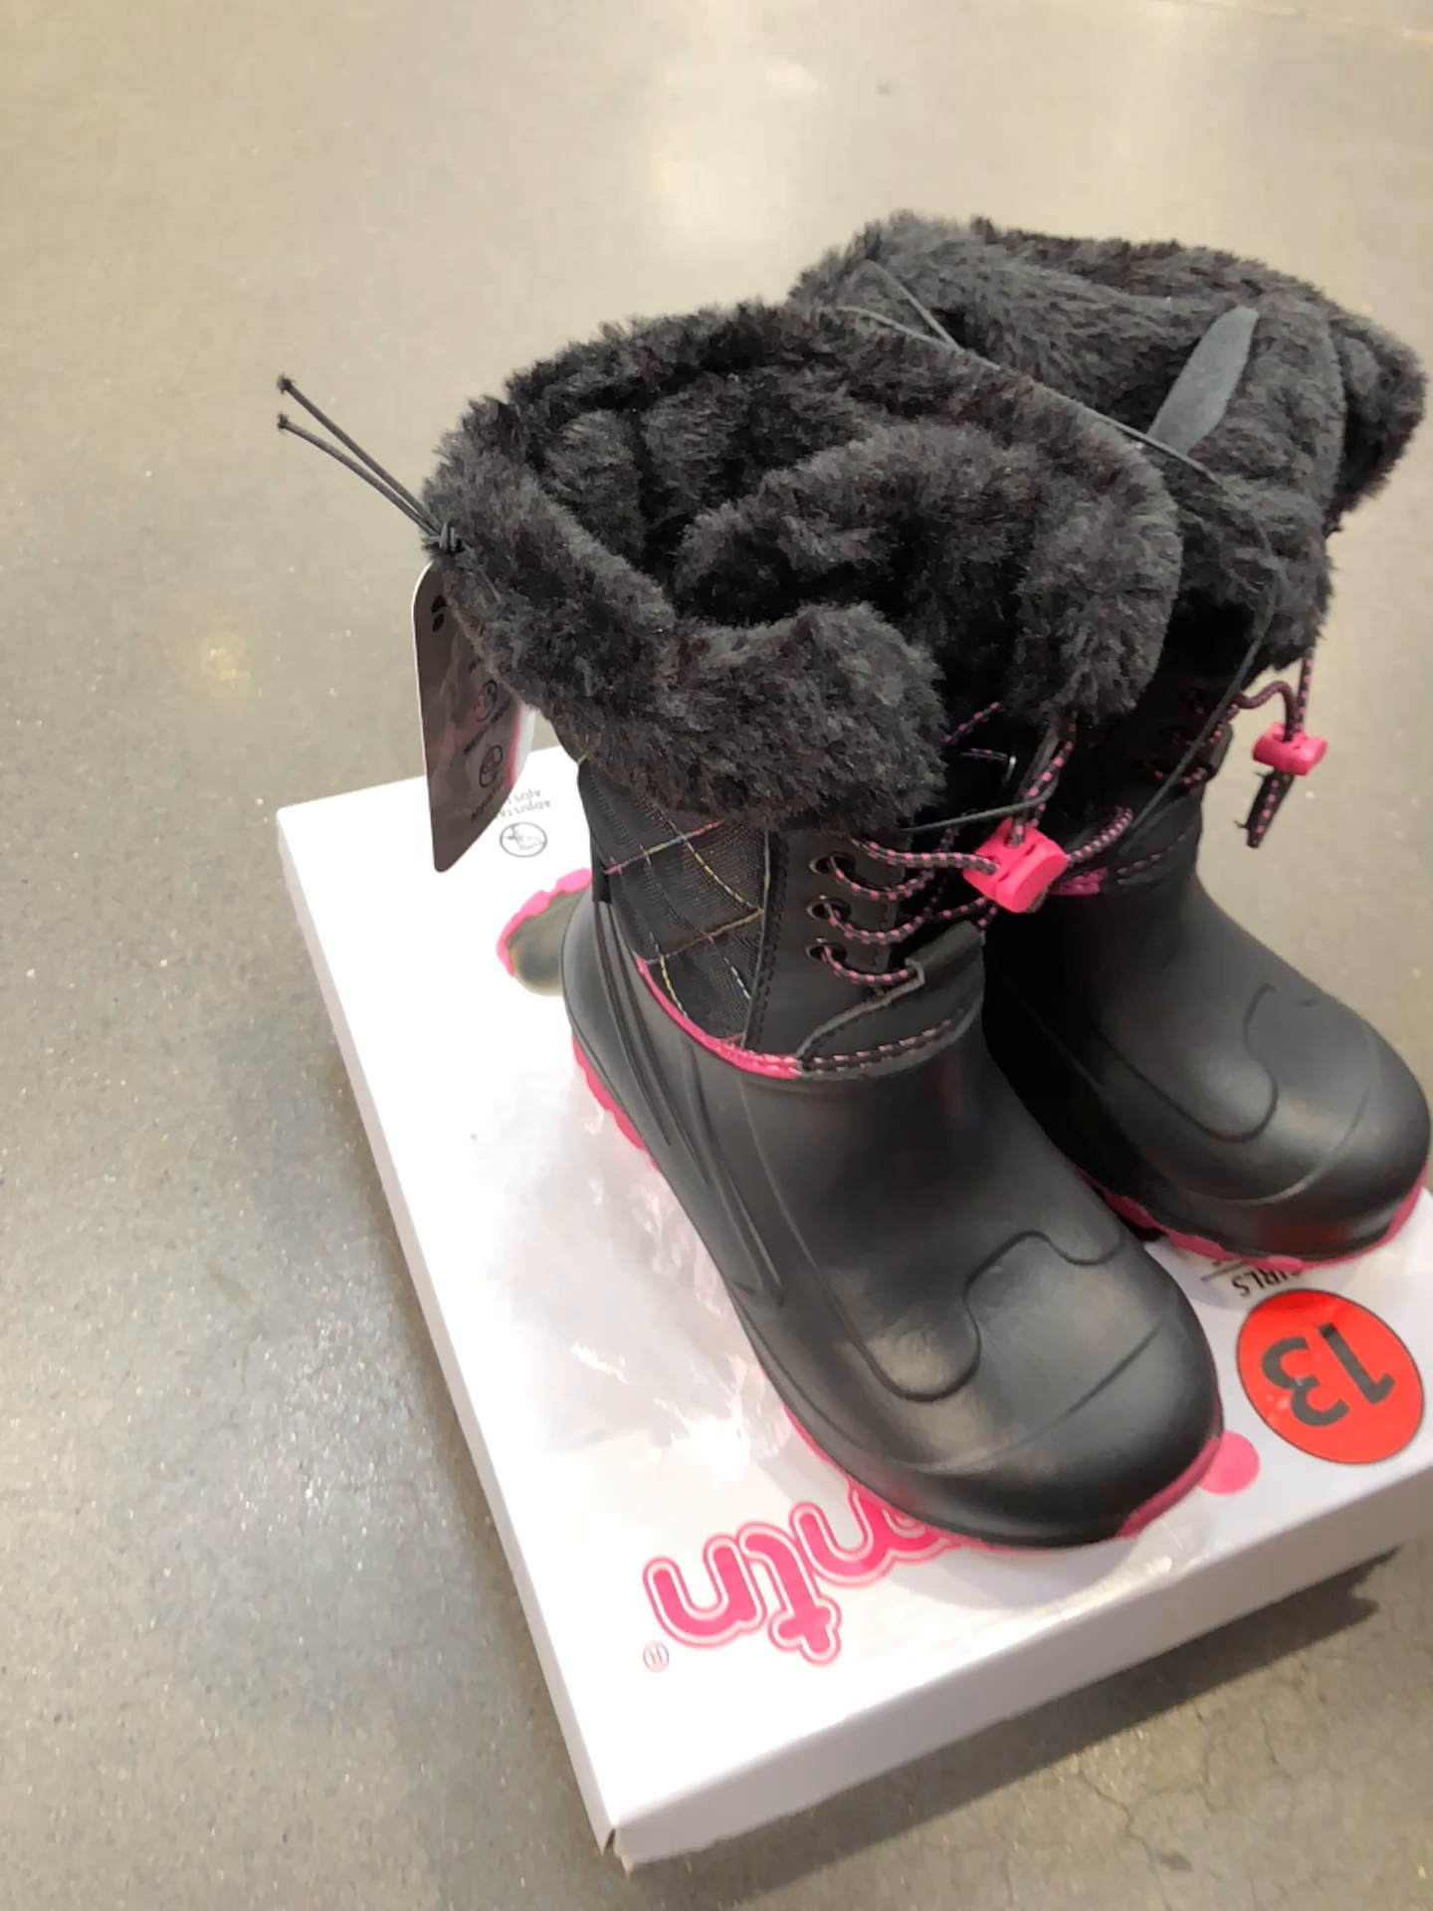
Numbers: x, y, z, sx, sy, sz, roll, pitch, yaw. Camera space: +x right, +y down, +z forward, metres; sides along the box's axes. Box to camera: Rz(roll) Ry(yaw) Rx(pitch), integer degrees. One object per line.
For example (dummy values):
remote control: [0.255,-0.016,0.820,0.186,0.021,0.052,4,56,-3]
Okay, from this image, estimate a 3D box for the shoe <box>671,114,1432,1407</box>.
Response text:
shoe: [0.116,-0.041,0.401,0.220,0.229,0.110,33,54,20]

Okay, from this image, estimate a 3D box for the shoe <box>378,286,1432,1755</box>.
shoe: [0.047,0.017,0.343,0.110,0.209,0.221,-34,61,-29]
